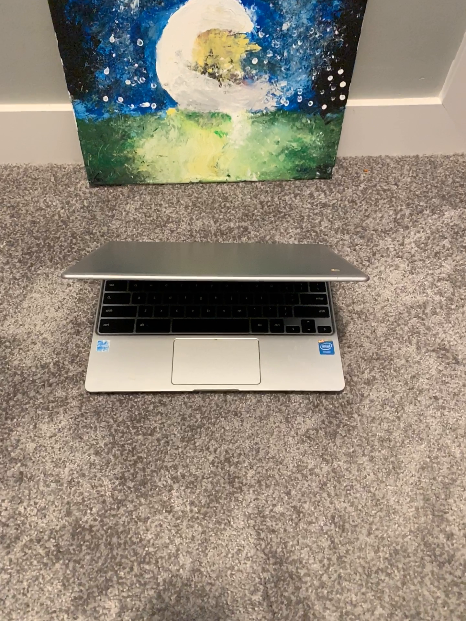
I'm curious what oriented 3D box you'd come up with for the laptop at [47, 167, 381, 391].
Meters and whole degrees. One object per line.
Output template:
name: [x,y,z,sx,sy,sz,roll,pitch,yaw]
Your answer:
laptop: [-0.018,-0.032,0.531,0.294,0.144,0.200,0,60,-3]
